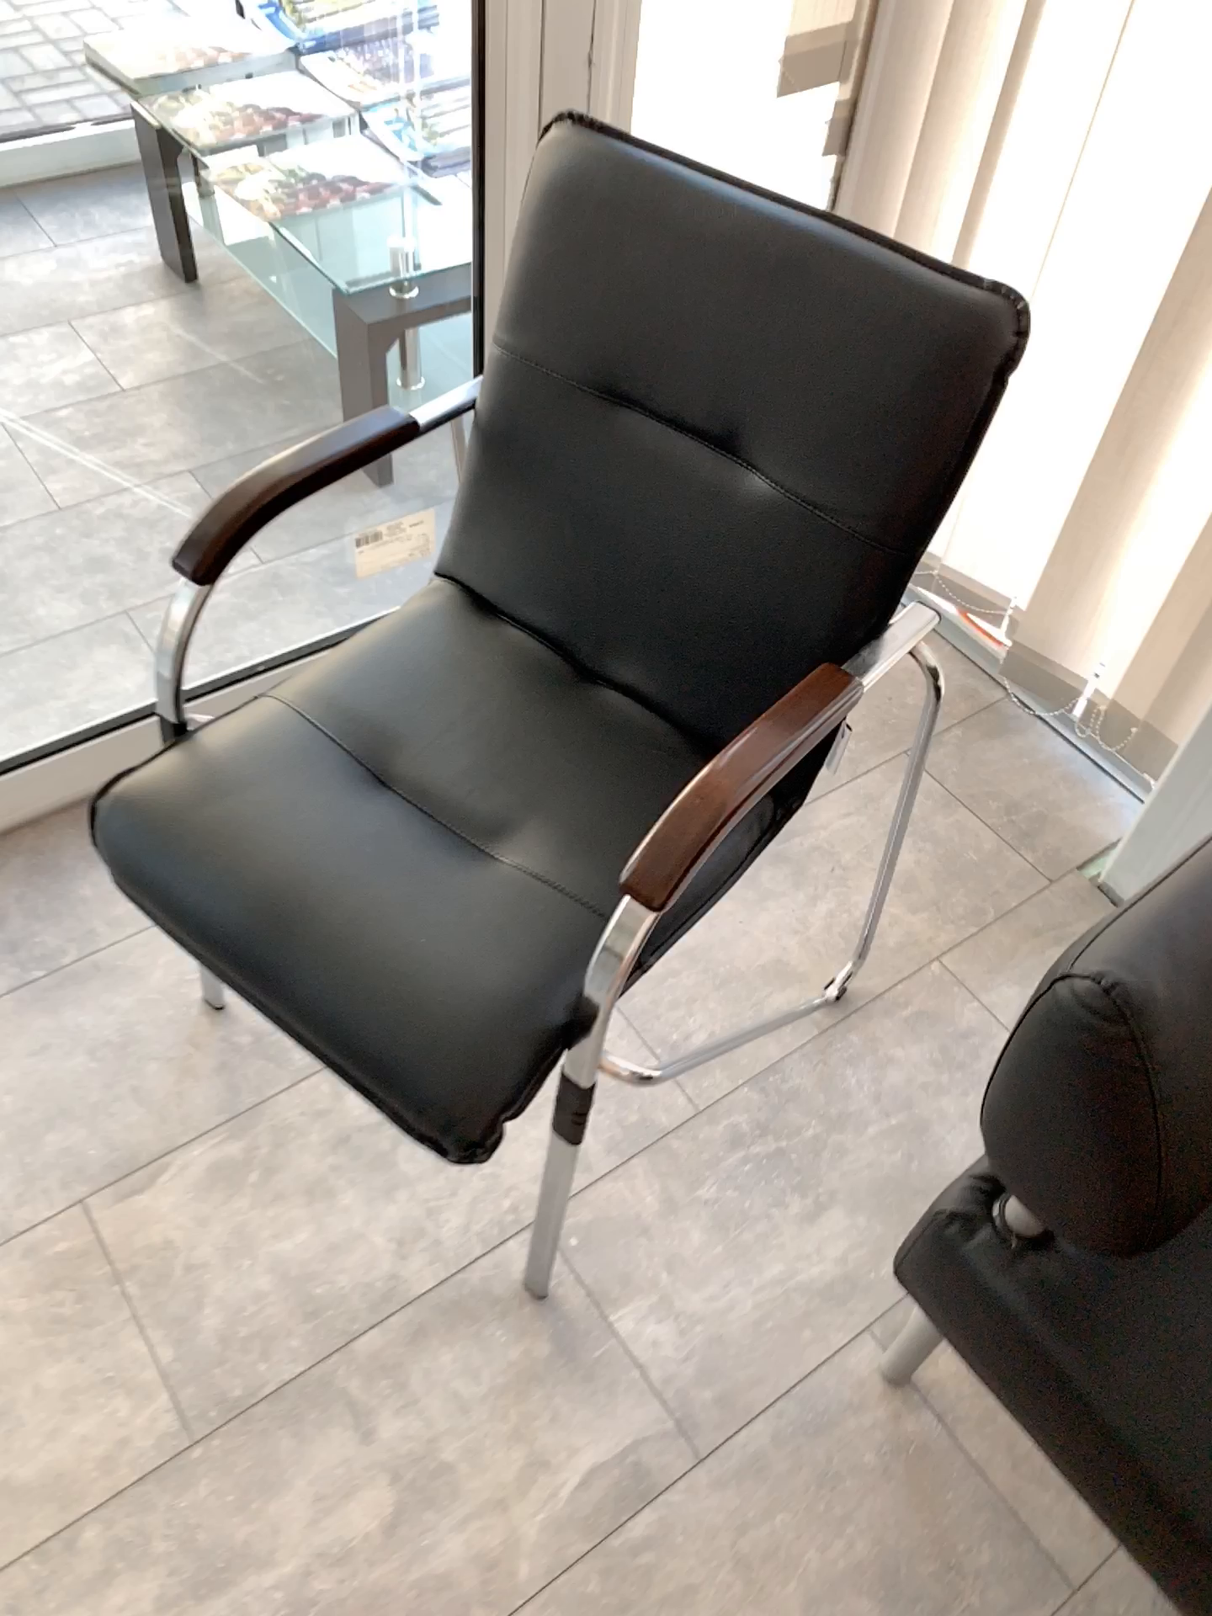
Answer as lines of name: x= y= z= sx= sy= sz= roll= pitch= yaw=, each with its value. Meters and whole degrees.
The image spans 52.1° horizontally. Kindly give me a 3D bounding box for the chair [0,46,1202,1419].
chair: x=-0.075 y=-0.070 z=1.157 sx=0.681 sy=0.827 sz=0.702 roll=33 pitch=55 yaw=21
